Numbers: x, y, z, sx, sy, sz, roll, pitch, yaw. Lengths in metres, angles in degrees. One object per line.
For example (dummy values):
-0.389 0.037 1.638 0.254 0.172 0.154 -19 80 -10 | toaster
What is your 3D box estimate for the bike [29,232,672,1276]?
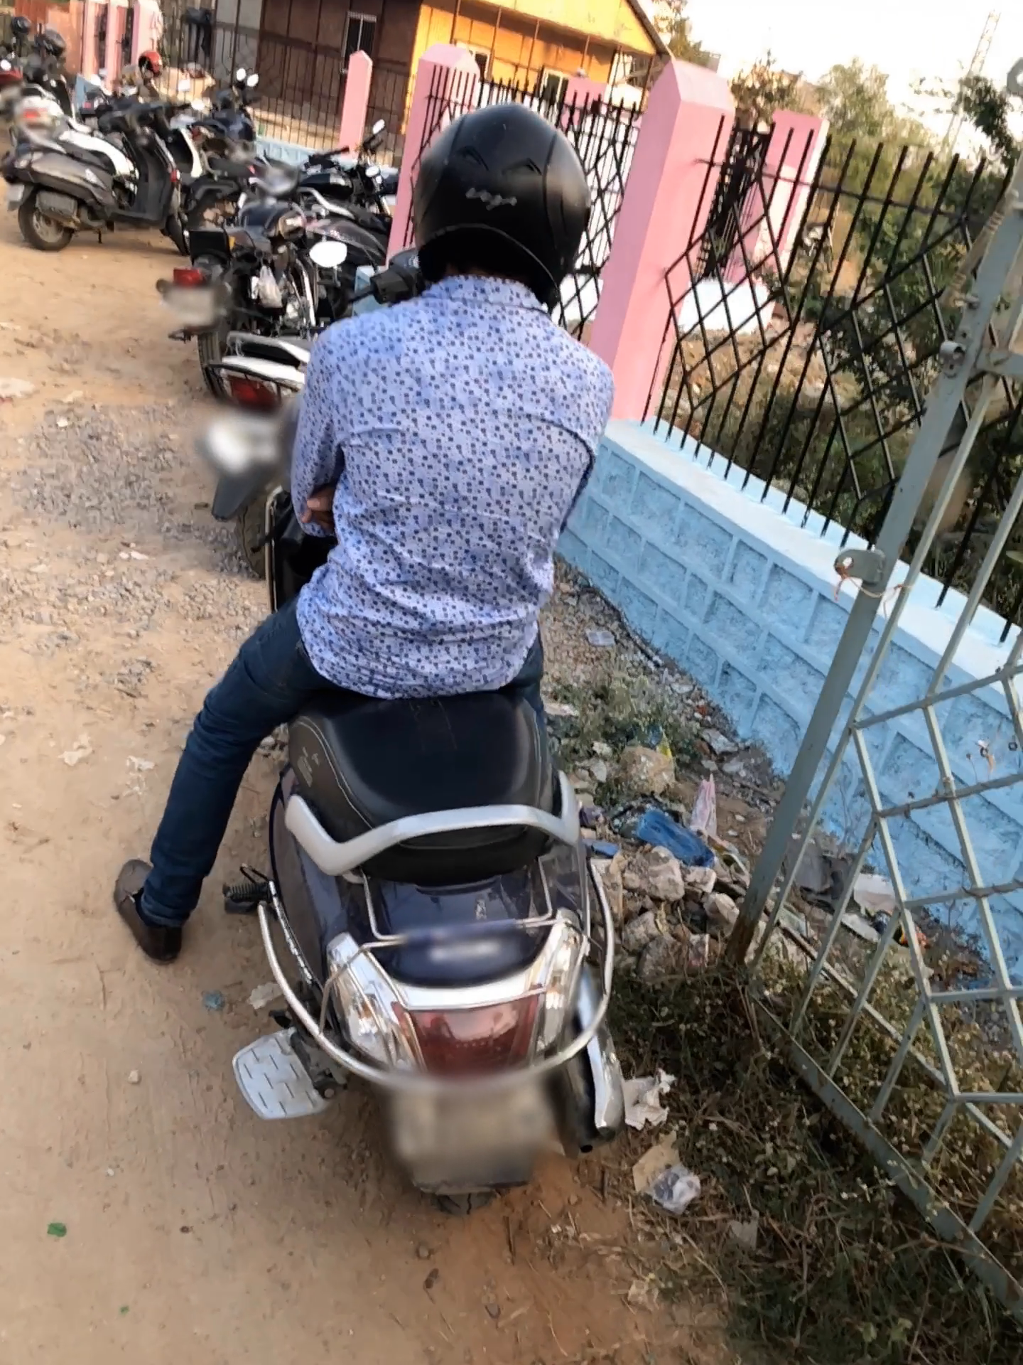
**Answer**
-0.469 0.022 1.957 0.593 1.013 1.399 1 33 -24 | bike
